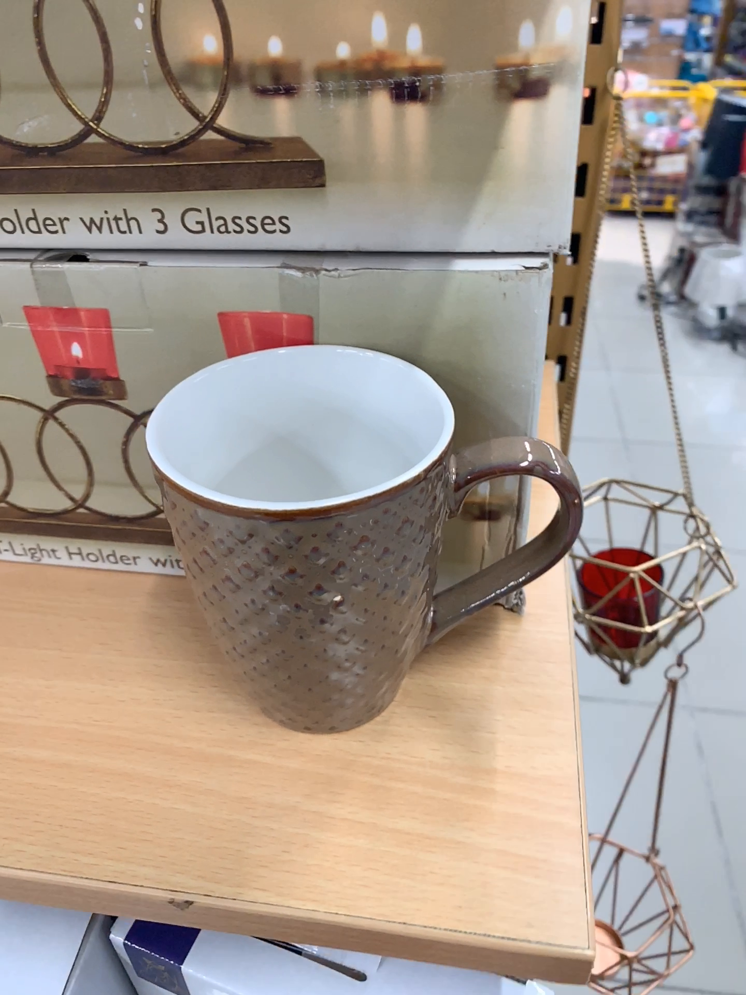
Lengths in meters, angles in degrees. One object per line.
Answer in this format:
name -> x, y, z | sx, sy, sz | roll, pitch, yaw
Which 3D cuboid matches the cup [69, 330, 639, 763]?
cup -> -0.002, 0.010, 0.238 | 0.130, 0.090, 0.090 | 2, 33, 5
